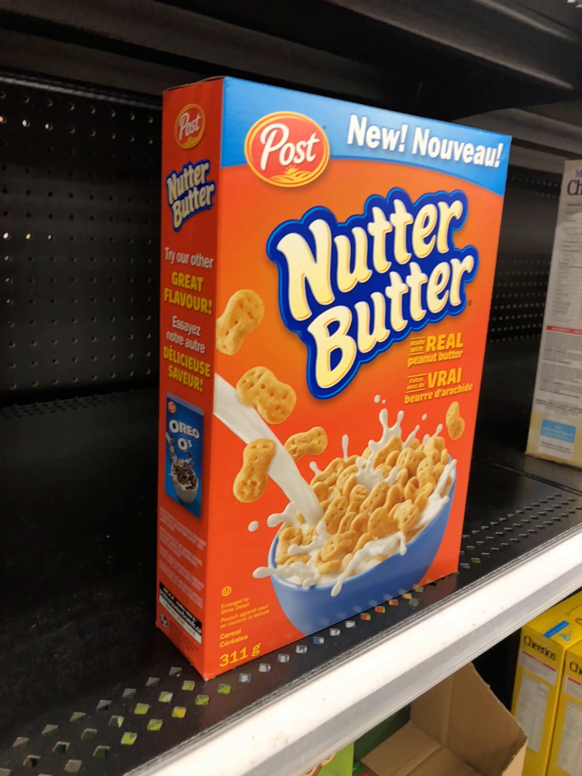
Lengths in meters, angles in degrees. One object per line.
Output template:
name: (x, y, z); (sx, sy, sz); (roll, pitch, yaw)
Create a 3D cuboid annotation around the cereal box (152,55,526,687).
cereal box: (0.028, -0.010, 0.361); (0.200, 0.279, 0.060); (-7, 17, -37)
